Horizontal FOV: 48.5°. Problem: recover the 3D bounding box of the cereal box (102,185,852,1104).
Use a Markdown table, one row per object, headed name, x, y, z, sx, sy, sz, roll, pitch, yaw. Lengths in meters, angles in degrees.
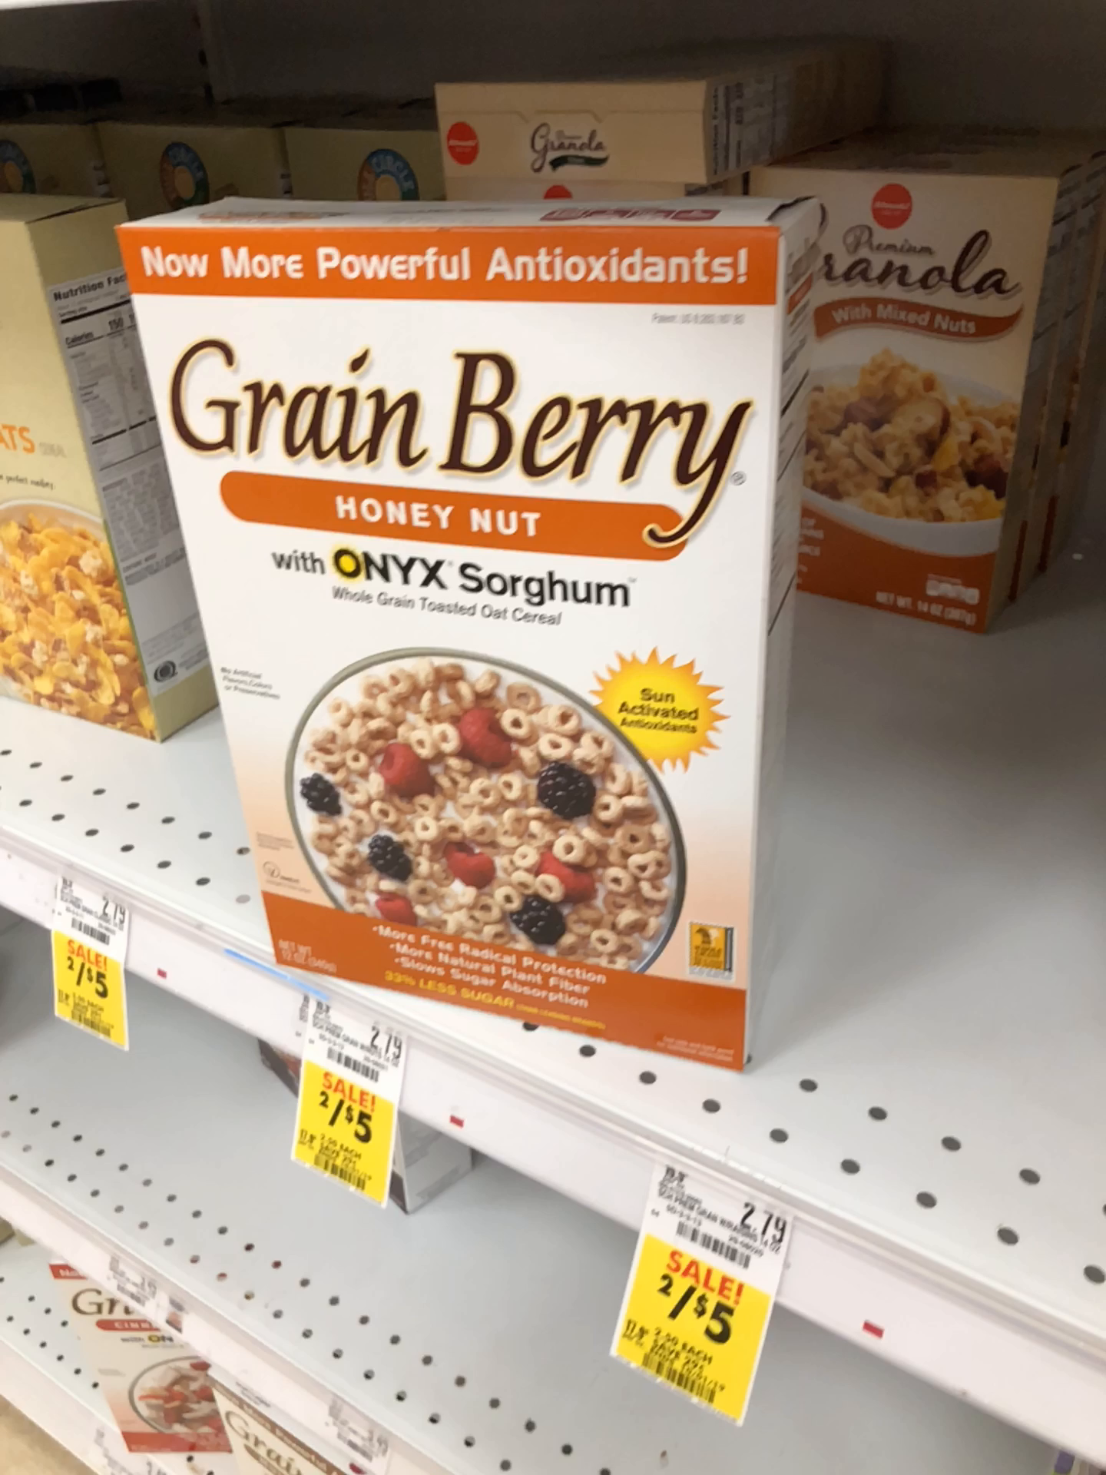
| name | x | y | z | sx | sy | sz | roll | pitch | yaw |
| --- | --- | --- | --- | --- | --- | --- | --- | --- | --- |
| cereal box | -0.015 | -0.025 | 0.420 | 0.200 | 0.289 | 0.070 | 8 | 33 | 19 |
